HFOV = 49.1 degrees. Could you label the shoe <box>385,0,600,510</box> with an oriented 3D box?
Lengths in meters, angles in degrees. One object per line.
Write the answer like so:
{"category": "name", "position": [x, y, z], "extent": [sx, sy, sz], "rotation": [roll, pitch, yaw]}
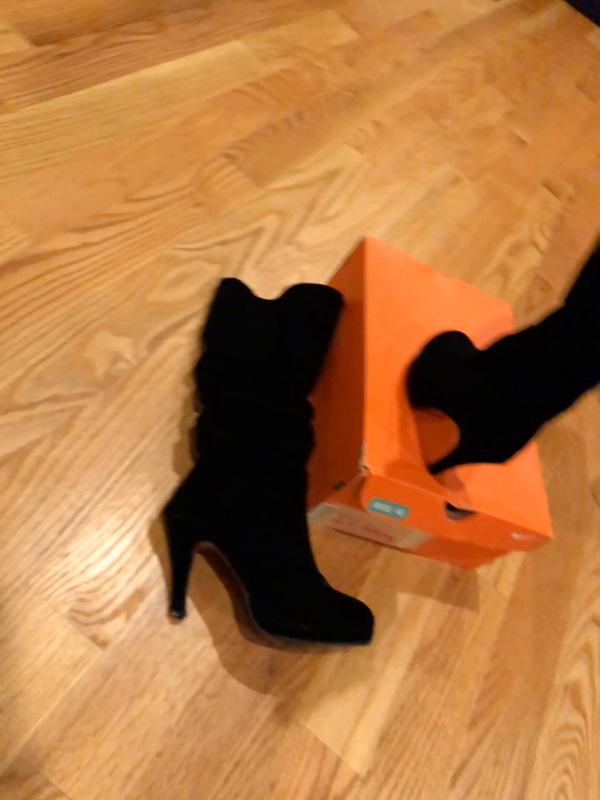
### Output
{"category": "shoe", "position": [0.223, -0.097, 0.534], "extent": [0.089, 0.397, 0.217], "rotation": [24, 49, -17]}

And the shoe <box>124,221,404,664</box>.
{"category": "shoe", "position": [-0.018, 0.024, 0.646], "extent": [0.206, 0.089, 0.401], "rotation": [19, 51, -20]}
